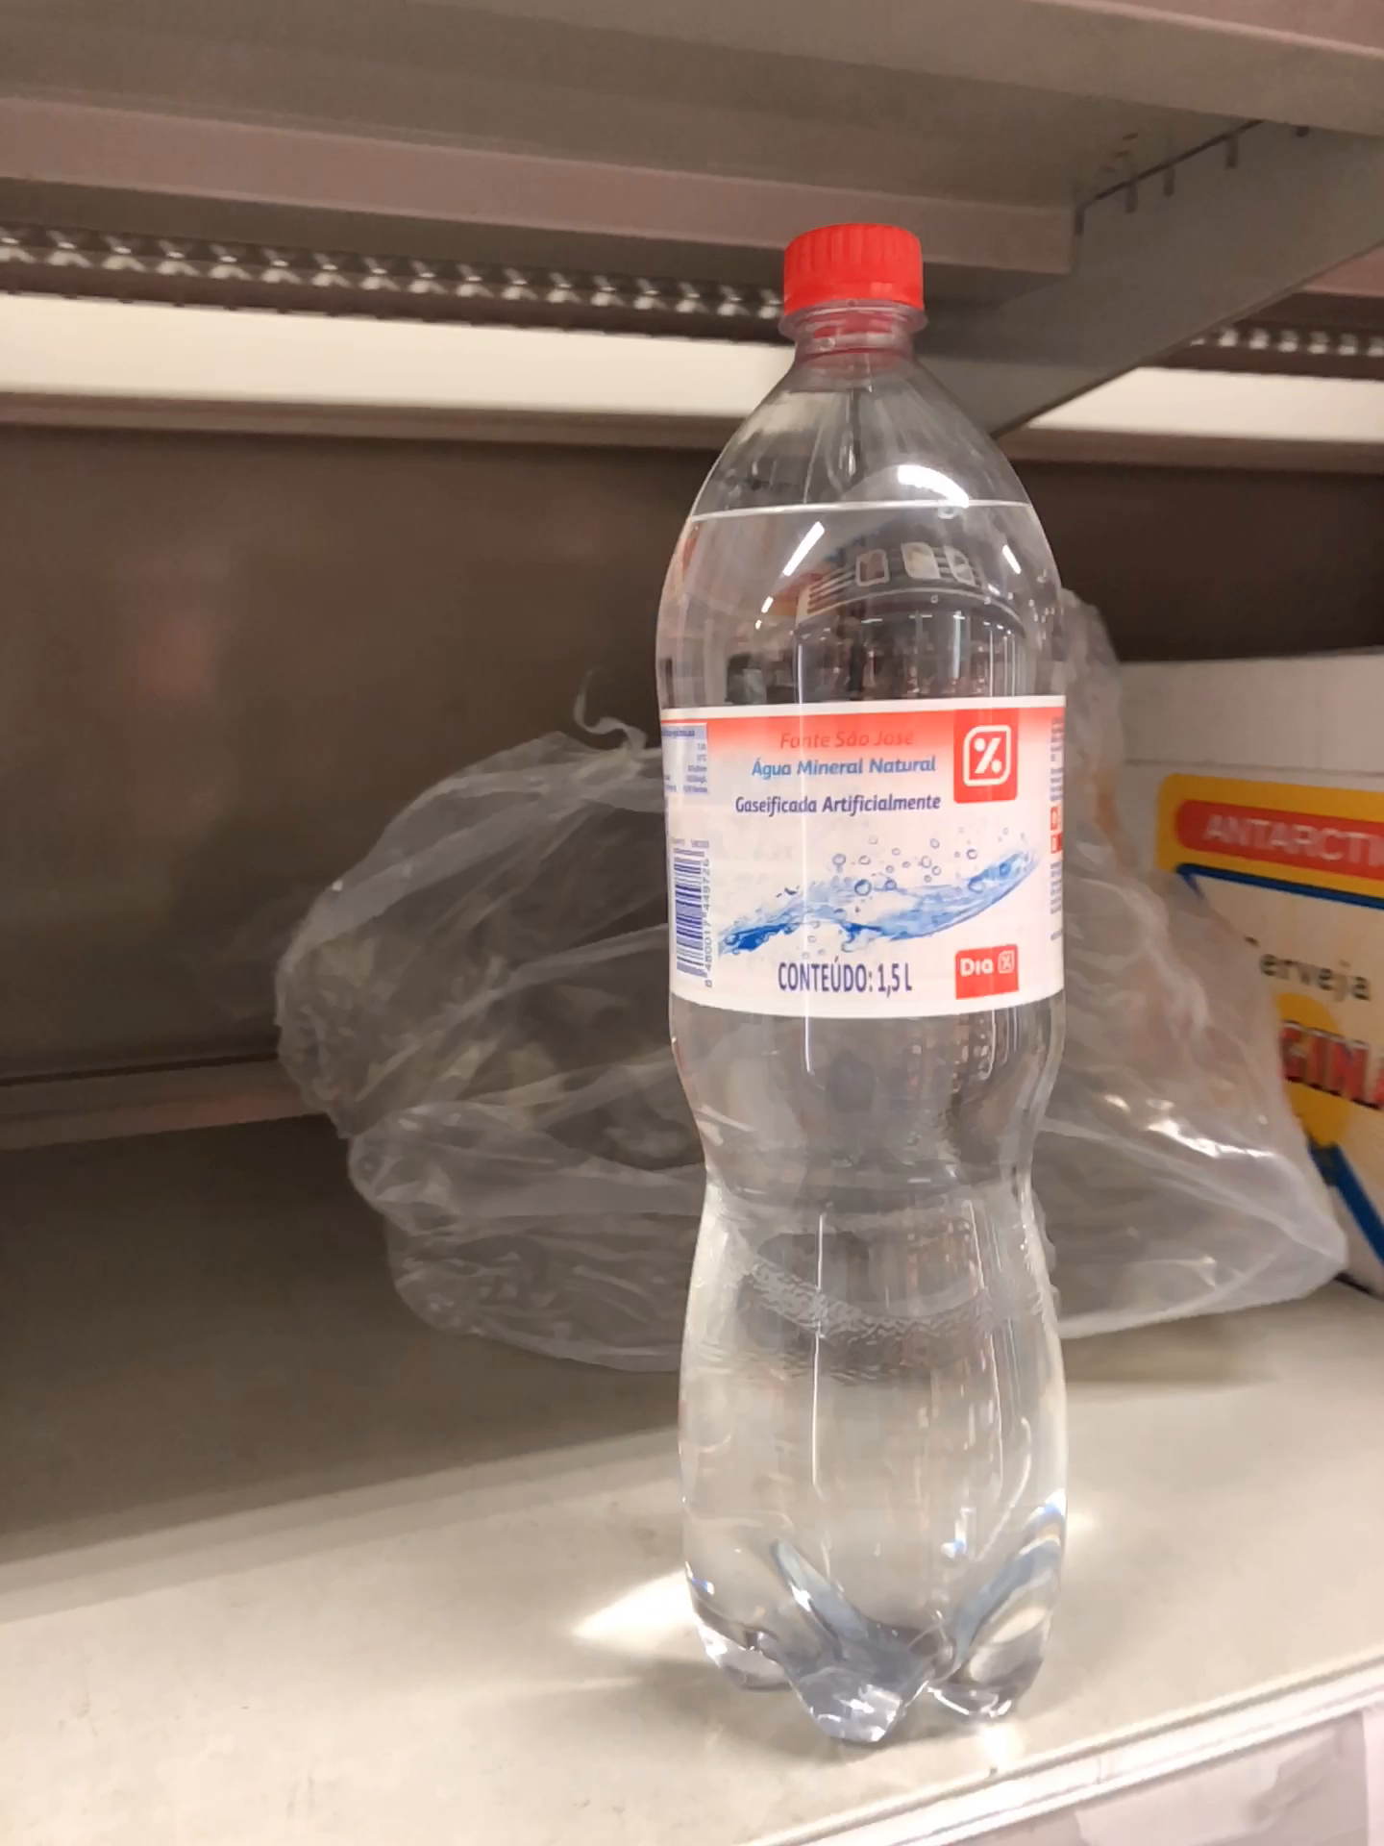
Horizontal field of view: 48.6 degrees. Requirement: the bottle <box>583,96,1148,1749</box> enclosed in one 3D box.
[{"bbox_3d":[0.039,0.004,0.348,0.100,0.319,0.100,-1,9,0],"label":"bottle"}]
